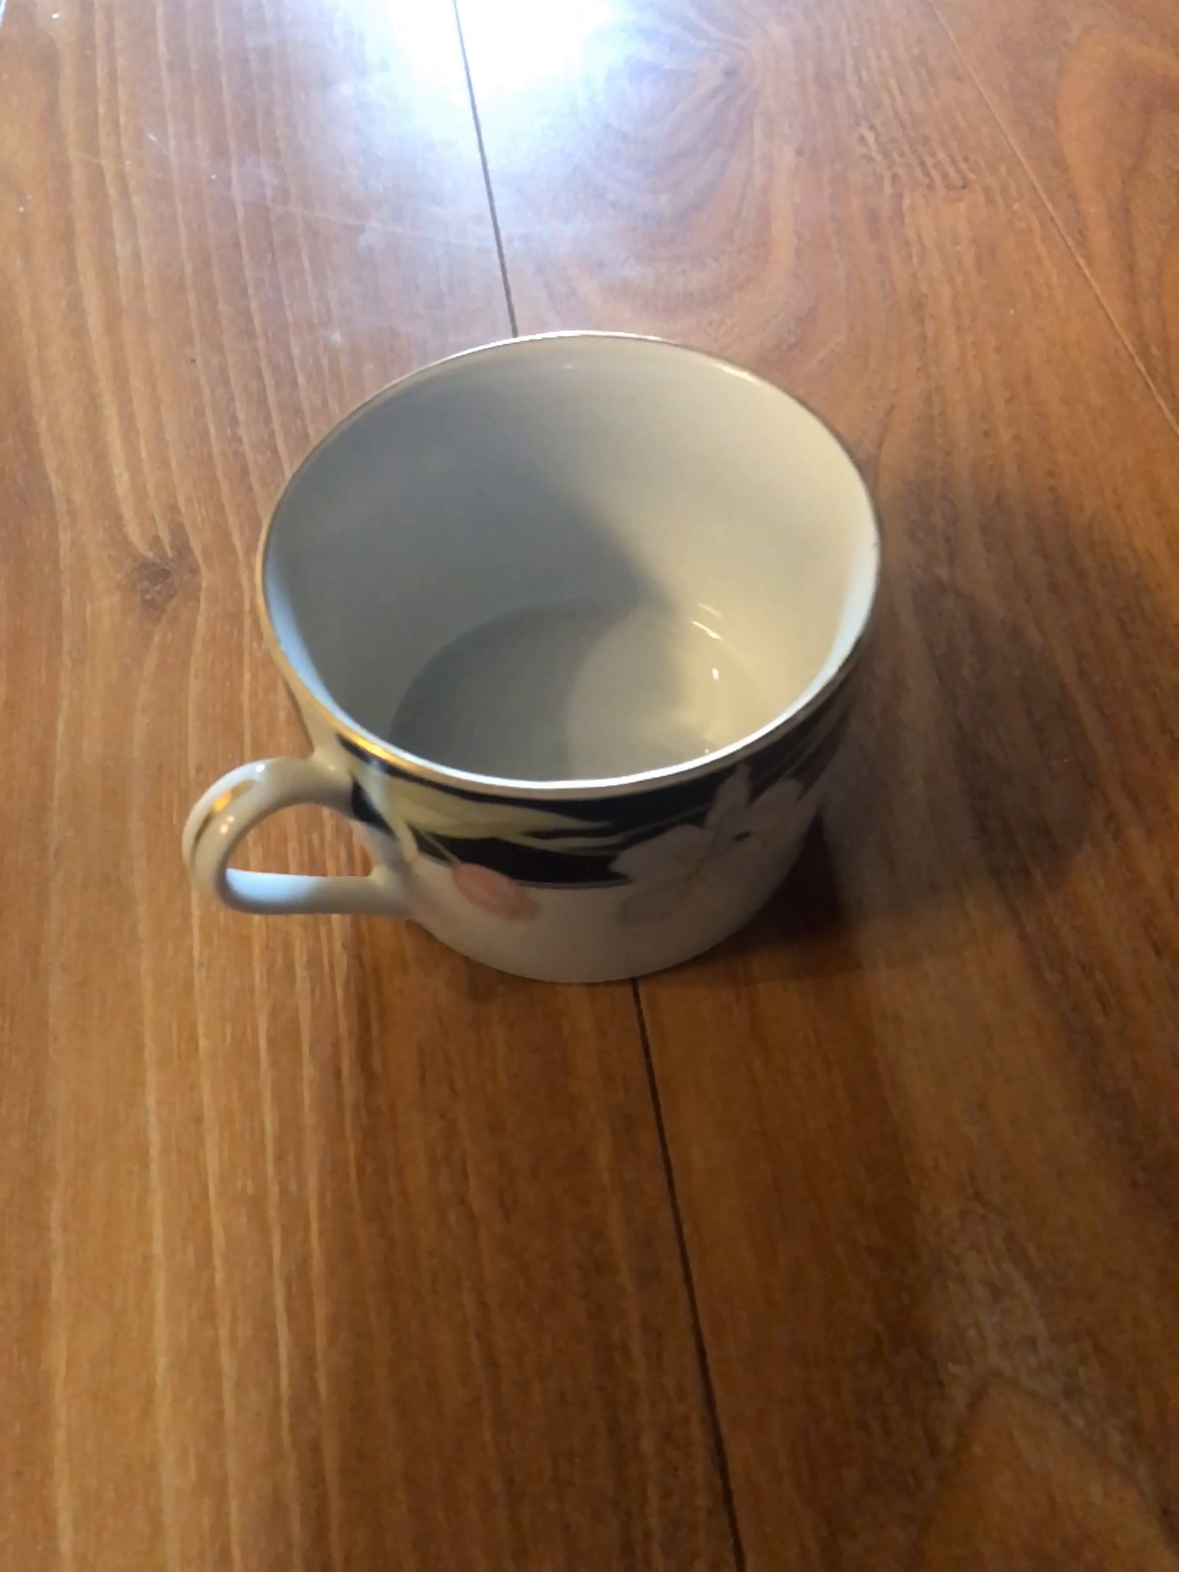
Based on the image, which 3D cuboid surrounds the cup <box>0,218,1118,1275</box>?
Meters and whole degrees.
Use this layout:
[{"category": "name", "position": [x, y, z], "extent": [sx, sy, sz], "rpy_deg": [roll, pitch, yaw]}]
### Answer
[{"category": "cup", "position": [-0.005, -0.011, 0.187], "extent": [0.110, 0.060, 0.090], "rpy_deg": [-38, 63, -19]}]
